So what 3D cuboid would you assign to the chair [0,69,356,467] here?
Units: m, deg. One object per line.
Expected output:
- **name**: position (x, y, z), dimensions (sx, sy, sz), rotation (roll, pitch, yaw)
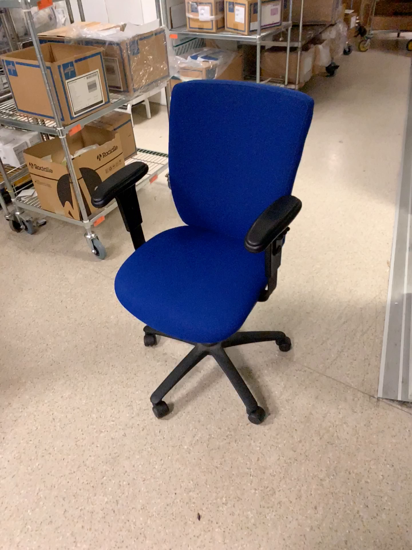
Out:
- **chair**: position (-0.003, -0.070, 1.415), dimensions (0.672, 0.931, 0.766), rotation (16, 43, 23)
